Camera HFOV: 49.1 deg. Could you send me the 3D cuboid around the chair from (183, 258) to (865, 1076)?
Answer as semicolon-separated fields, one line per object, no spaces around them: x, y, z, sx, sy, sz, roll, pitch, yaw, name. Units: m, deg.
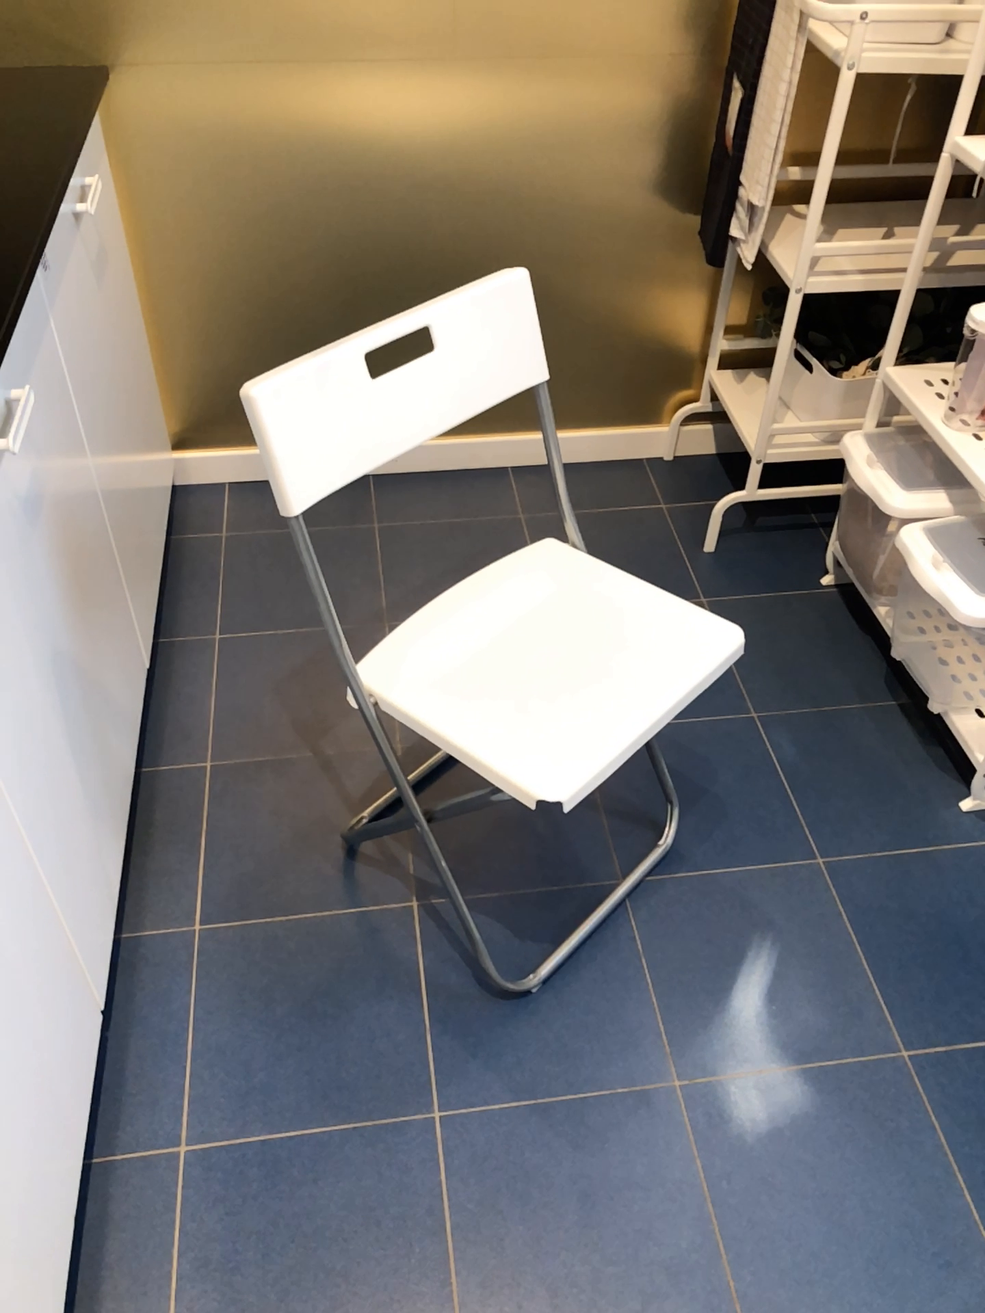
0.027;0.016;1.395;0.522;0.775;0.492;34;52;30;chair
